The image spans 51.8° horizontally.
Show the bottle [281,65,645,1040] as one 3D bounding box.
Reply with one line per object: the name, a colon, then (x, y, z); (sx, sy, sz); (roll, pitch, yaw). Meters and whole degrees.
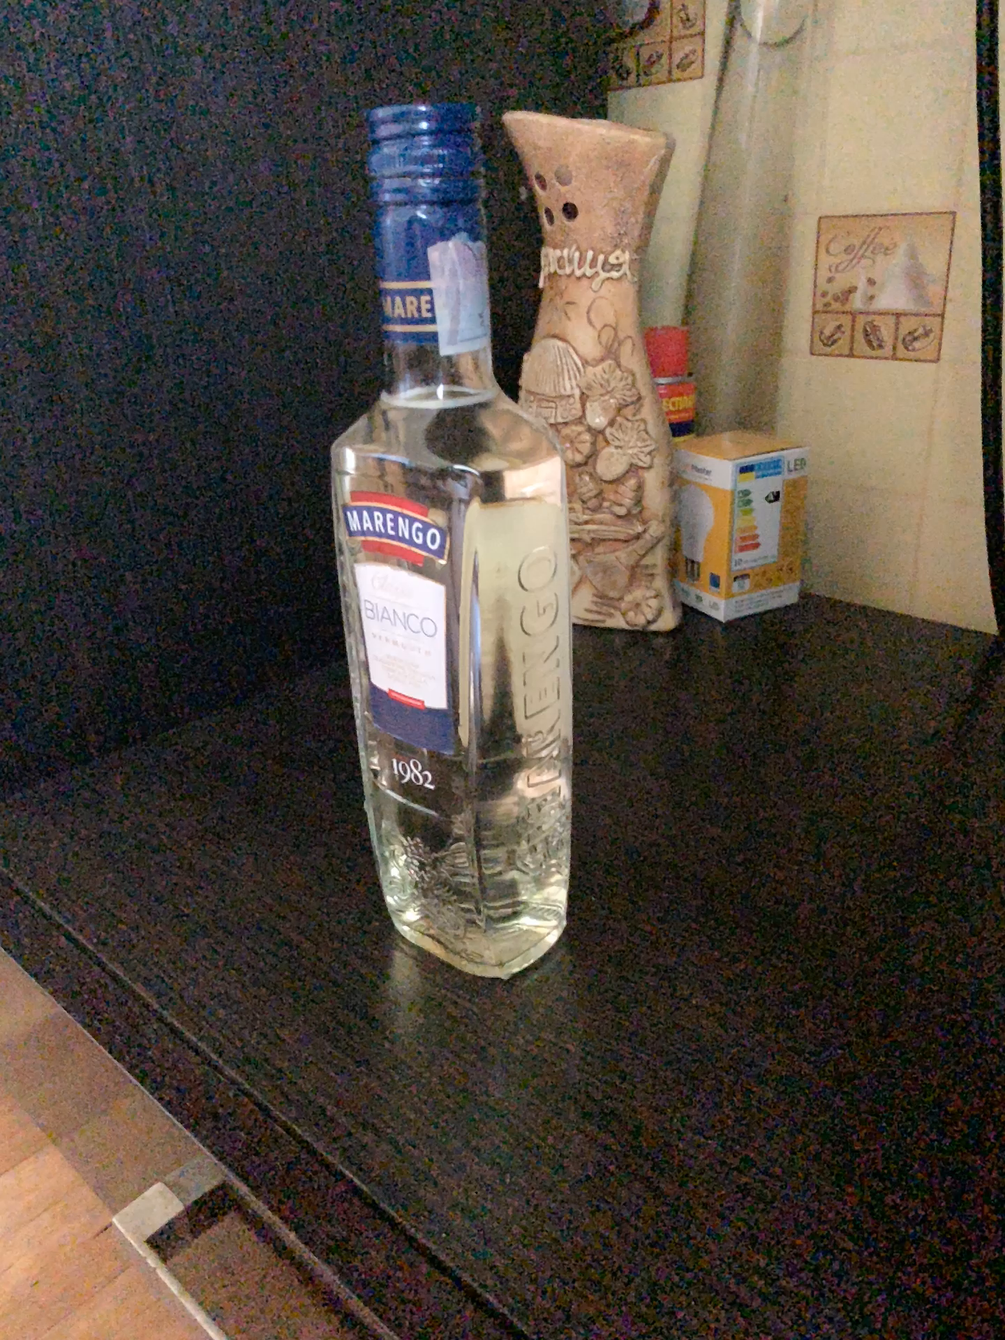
bottle: (-0.006, -0.026, 0.339); (0.090, 0.289, 0.050); (19, 32, 40)
